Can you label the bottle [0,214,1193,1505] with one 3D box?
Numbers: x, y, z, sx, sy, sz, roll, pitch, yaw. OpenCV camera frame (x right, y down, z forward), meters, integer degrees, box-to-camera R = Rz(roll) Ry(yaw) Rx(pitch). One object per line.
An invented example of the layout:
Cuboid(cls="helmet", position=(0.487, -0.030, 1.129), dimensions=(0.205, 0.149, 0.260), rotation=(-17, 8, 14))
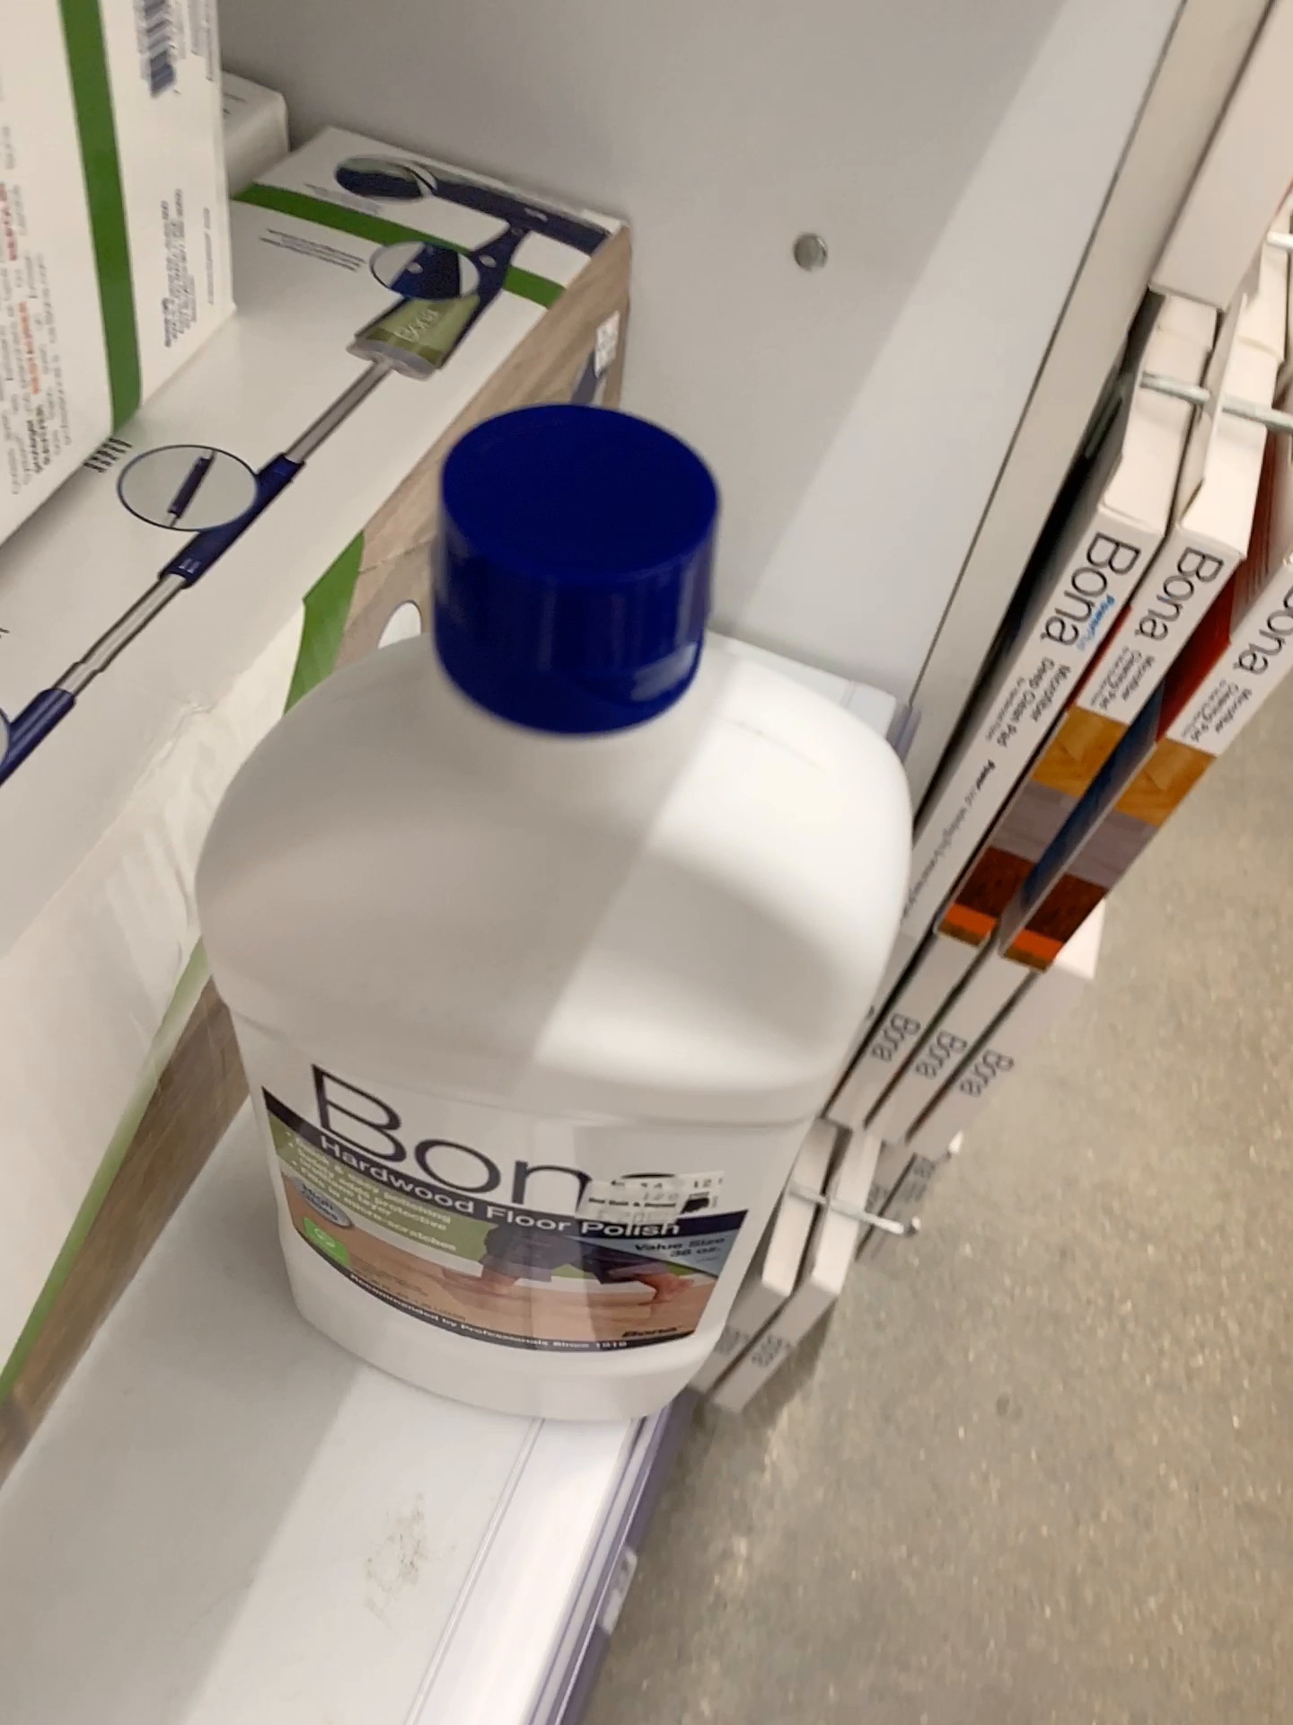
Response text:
Cuboid(cls="bottle", position=(-0.018, 0.037, 0.247), dimensions=(0.120, 0.259, 0.070), rotation=(13, 51, 1))
